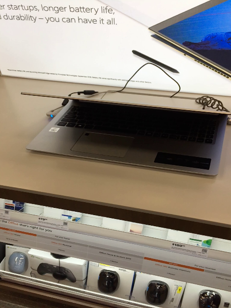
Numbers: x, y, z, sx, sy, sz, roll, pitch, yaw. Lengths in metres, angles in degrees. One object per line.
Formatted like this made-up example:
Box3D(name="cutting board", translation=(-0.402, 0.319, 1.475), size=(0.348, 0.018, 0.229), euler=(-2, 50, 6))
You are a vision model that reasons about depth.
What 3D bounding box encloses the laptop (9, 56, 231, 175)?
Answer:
Box3D(name="laptop", translation=(0.031, -0.106, 0.675), size=(0.414, 0.139, 0.249), euler=(9, 40, 18))
